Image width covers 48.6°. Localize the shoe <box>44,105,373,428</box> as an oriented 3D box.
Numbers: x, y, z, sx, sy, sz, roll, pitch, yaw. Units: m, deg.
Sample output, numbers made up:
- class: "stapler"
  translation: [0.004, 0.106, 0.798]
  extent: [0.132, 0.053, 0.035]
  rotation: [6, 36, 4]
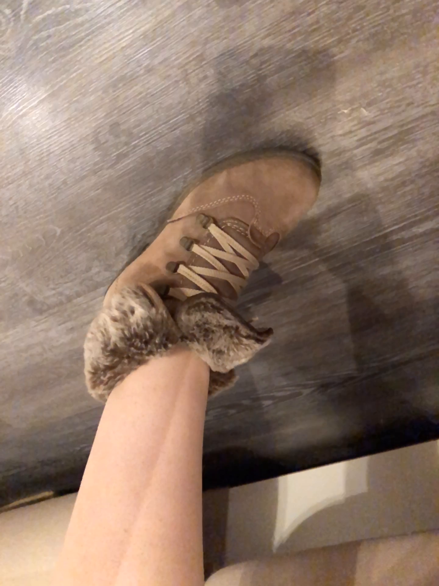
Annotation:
- class: "shoe"
  translation: [-0.017, -0.010, 0.438]
  extent: [0.251, 0.149, 0.120]
  rotation: [-33, 126, 31]
